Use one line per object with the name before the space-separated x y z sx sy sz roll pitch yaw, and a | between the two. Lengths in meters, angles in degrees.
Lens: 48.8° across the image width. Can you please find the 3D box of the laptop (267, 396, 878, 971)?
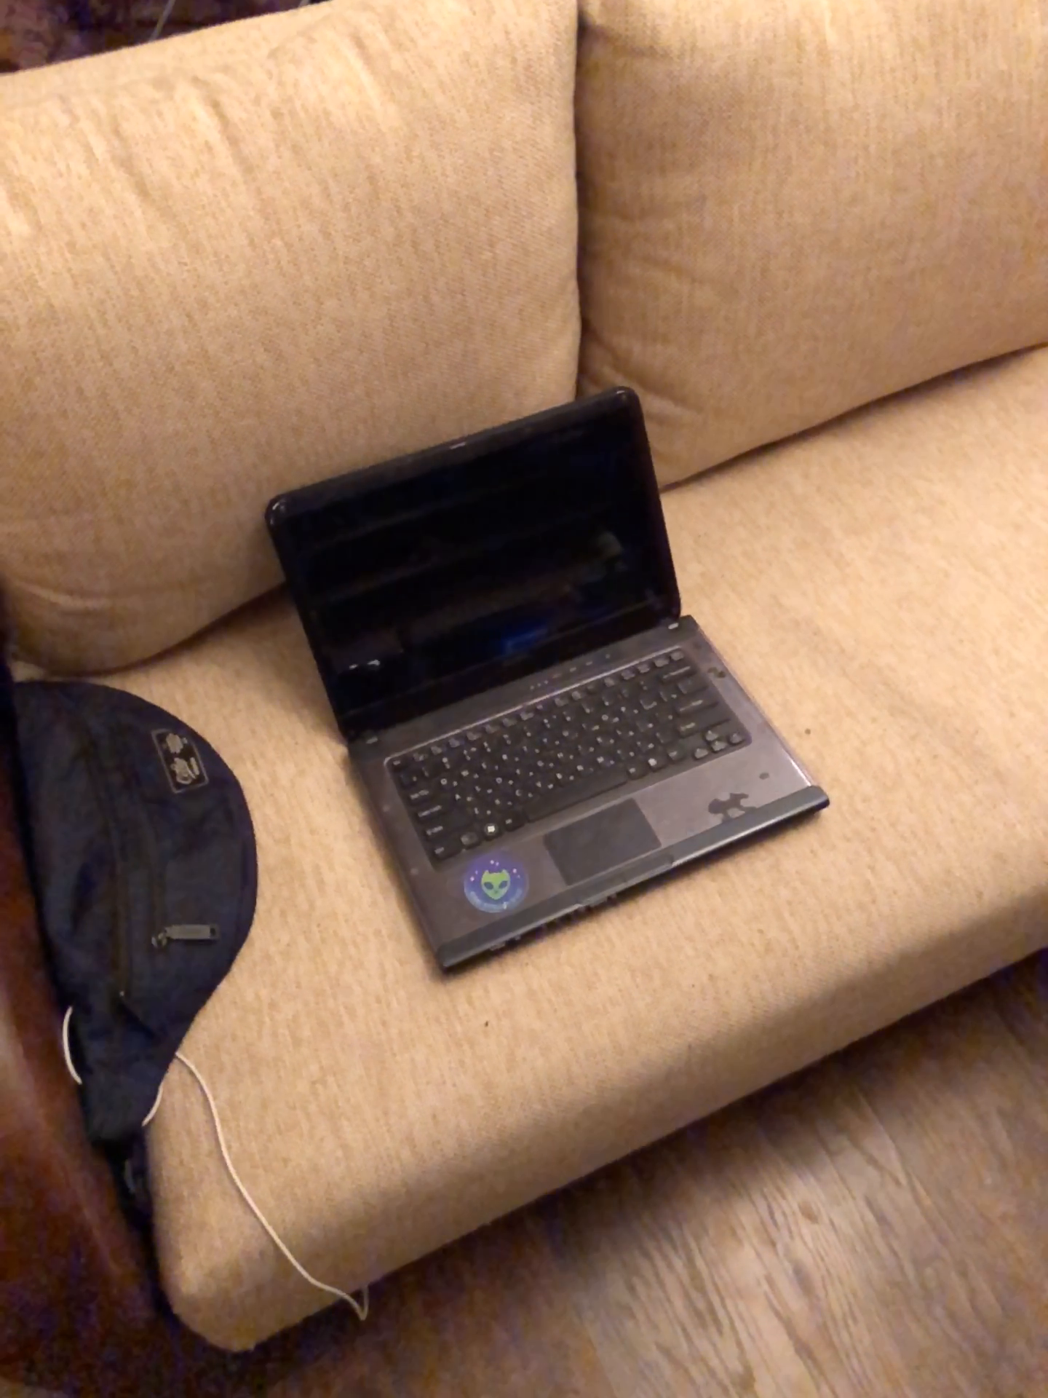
laptop | 0.021 -0.029 0.938 0.338 0.174 0.350 -21 55 -14
